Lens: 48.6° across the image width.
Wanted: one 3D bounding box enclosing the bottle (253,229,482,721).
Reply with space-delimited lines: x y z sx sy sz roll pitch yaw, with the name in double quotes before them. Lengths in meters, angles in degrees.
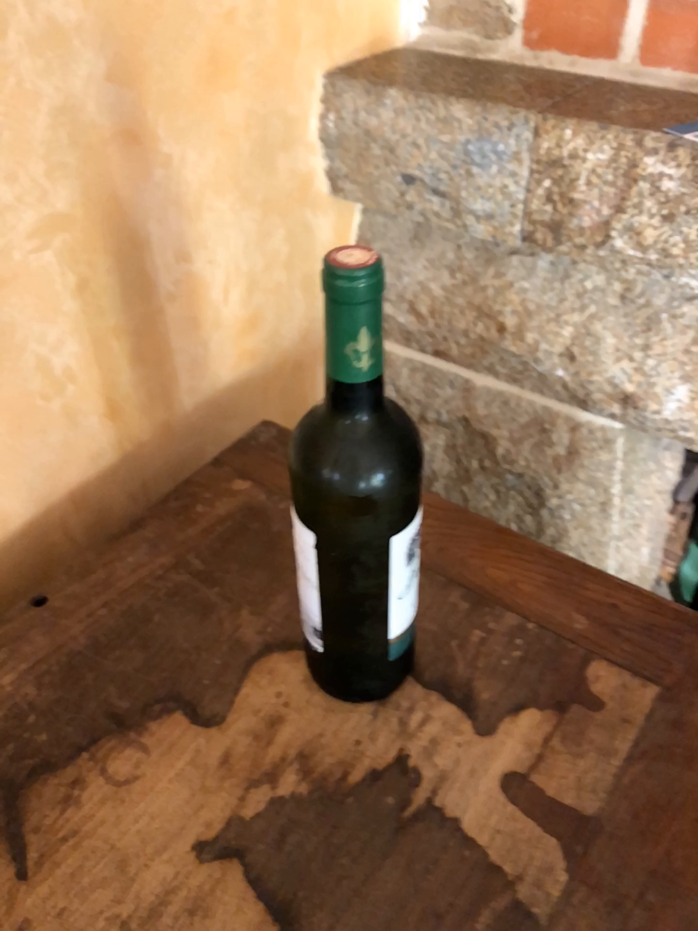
"bottle" 0.011 0.020 0.421 0.090 0.268 0.091 0 39 0
